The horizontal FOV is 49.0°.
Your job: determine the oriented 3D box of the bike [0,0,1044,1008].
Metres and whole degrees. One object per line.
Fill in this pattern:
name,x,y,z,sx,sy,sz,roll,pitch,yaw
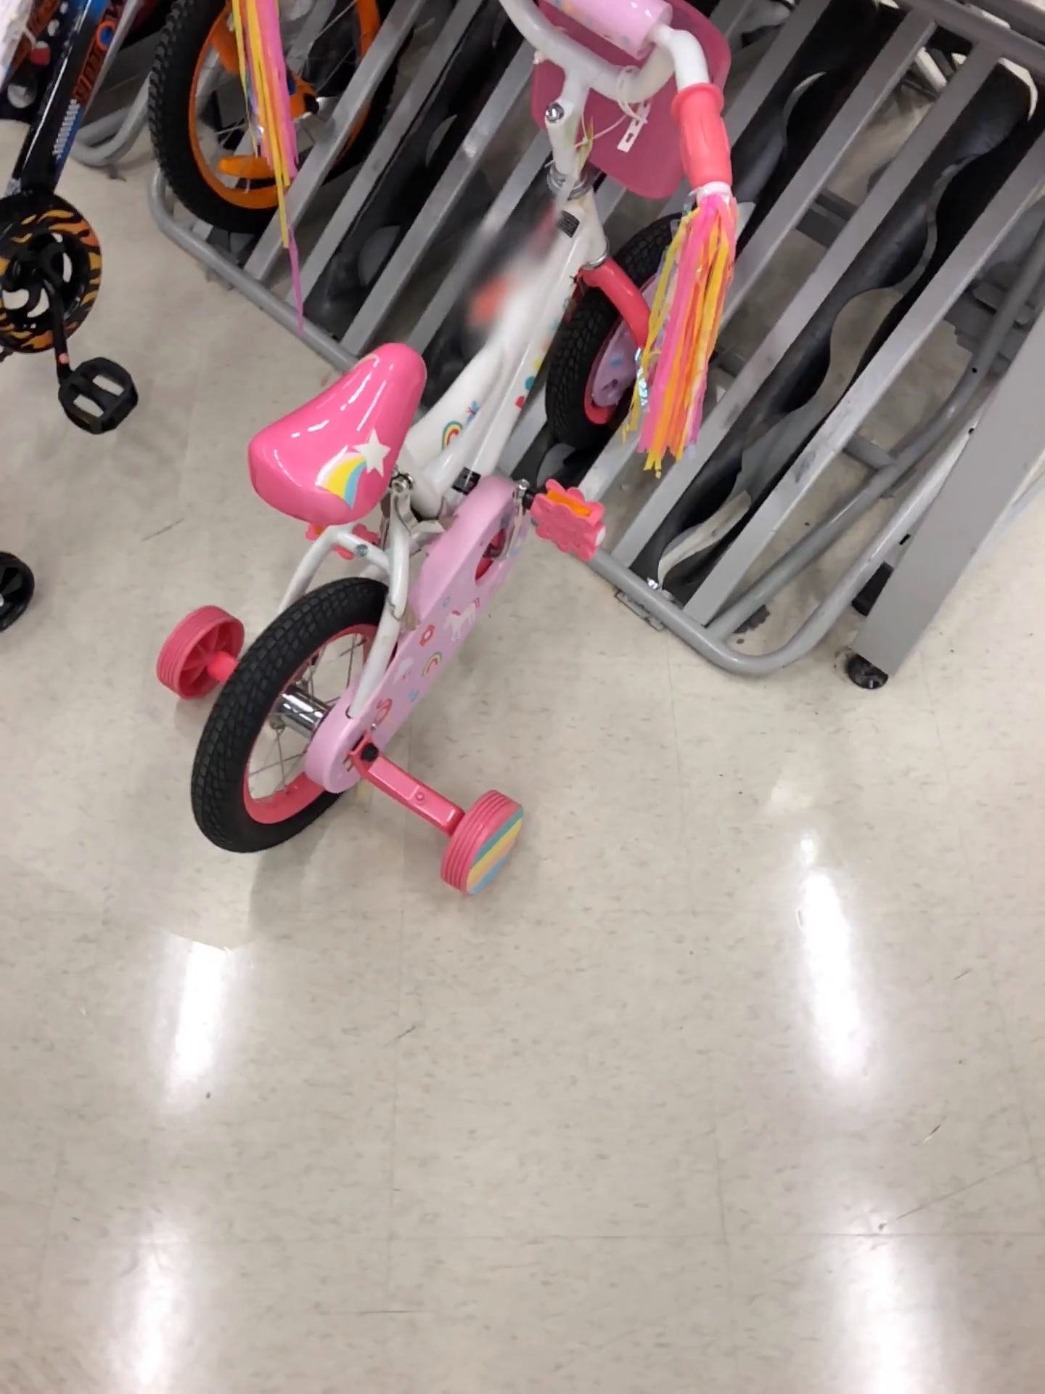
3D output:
bike,-0.029,-0.327,1.058,0.516,0.592,0.945,31,64,14
